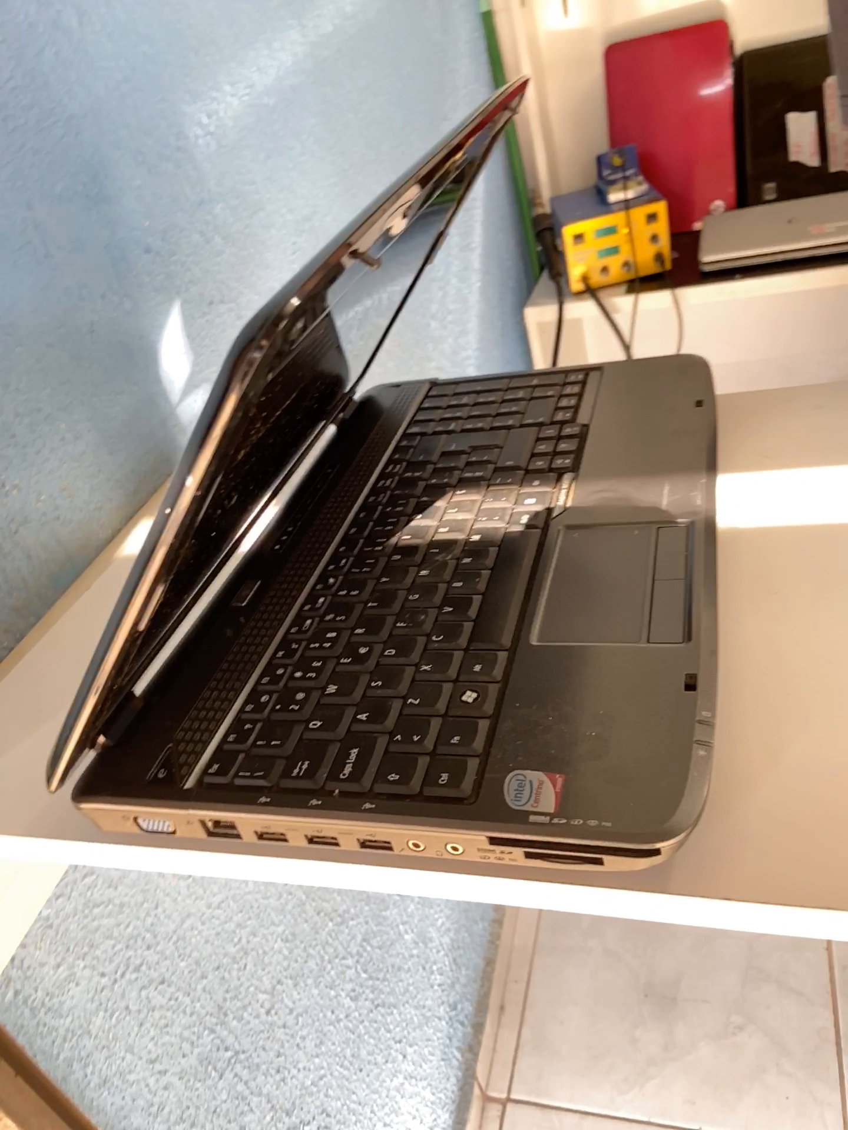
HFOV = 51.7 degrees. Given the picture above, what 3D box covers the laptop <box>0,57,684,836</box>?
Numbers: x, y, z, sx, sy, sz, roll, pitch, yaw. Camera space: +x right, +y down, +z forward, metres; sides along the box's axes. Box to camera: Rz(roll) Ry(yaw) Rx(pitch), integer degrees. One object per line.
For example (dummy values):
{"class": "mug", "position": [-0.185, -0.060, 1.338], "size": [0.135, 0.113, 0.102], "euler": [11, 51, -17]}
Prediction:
{"class": "laptop", "position": [-0.009, -0.091, 0.413], "size": [0.235, 0.174, 0.380], "euler": [-4, 33, 20]}
